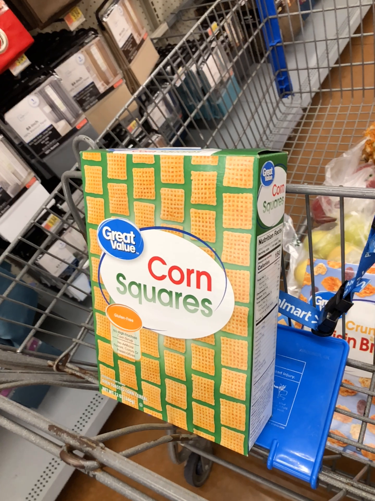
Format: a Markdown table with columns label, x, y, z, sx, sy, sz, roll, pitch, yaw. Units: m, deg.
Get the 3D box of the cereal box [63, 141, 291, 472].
| label | x | y | z | sx | sy | sz | roll | pitch | yaw |
| --- | --- | --- | --- | --- | --- | --- | --- | --- | --- |
| cereal box | -0.014 | 0.039 | 0.409 | 0.201 | 0.280 | 0.070 | 9 | 18 | 32 |
